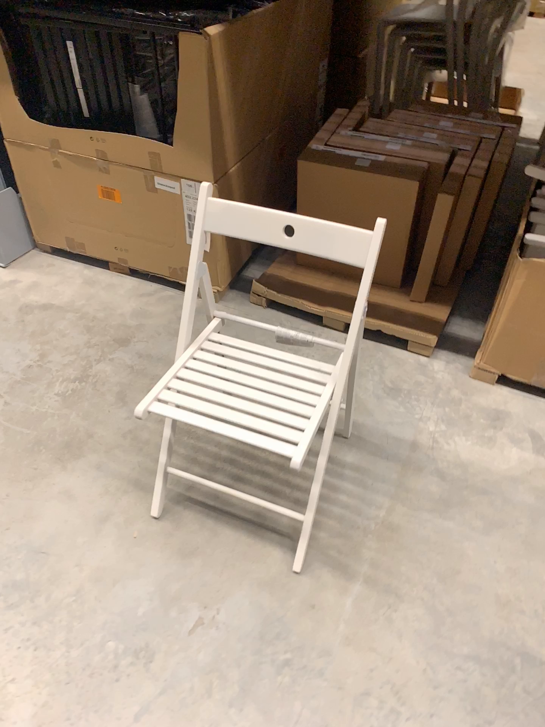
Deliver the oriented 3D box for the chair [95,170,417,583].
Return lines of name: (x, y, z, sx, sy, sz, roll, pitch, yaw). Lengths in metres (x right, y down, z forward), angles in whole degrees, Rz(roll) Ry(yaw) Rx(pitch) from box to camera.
chair: (-0.005, 0.037, 1.244, 0.430, 0.707, 0.471, 16, 45, 16)
